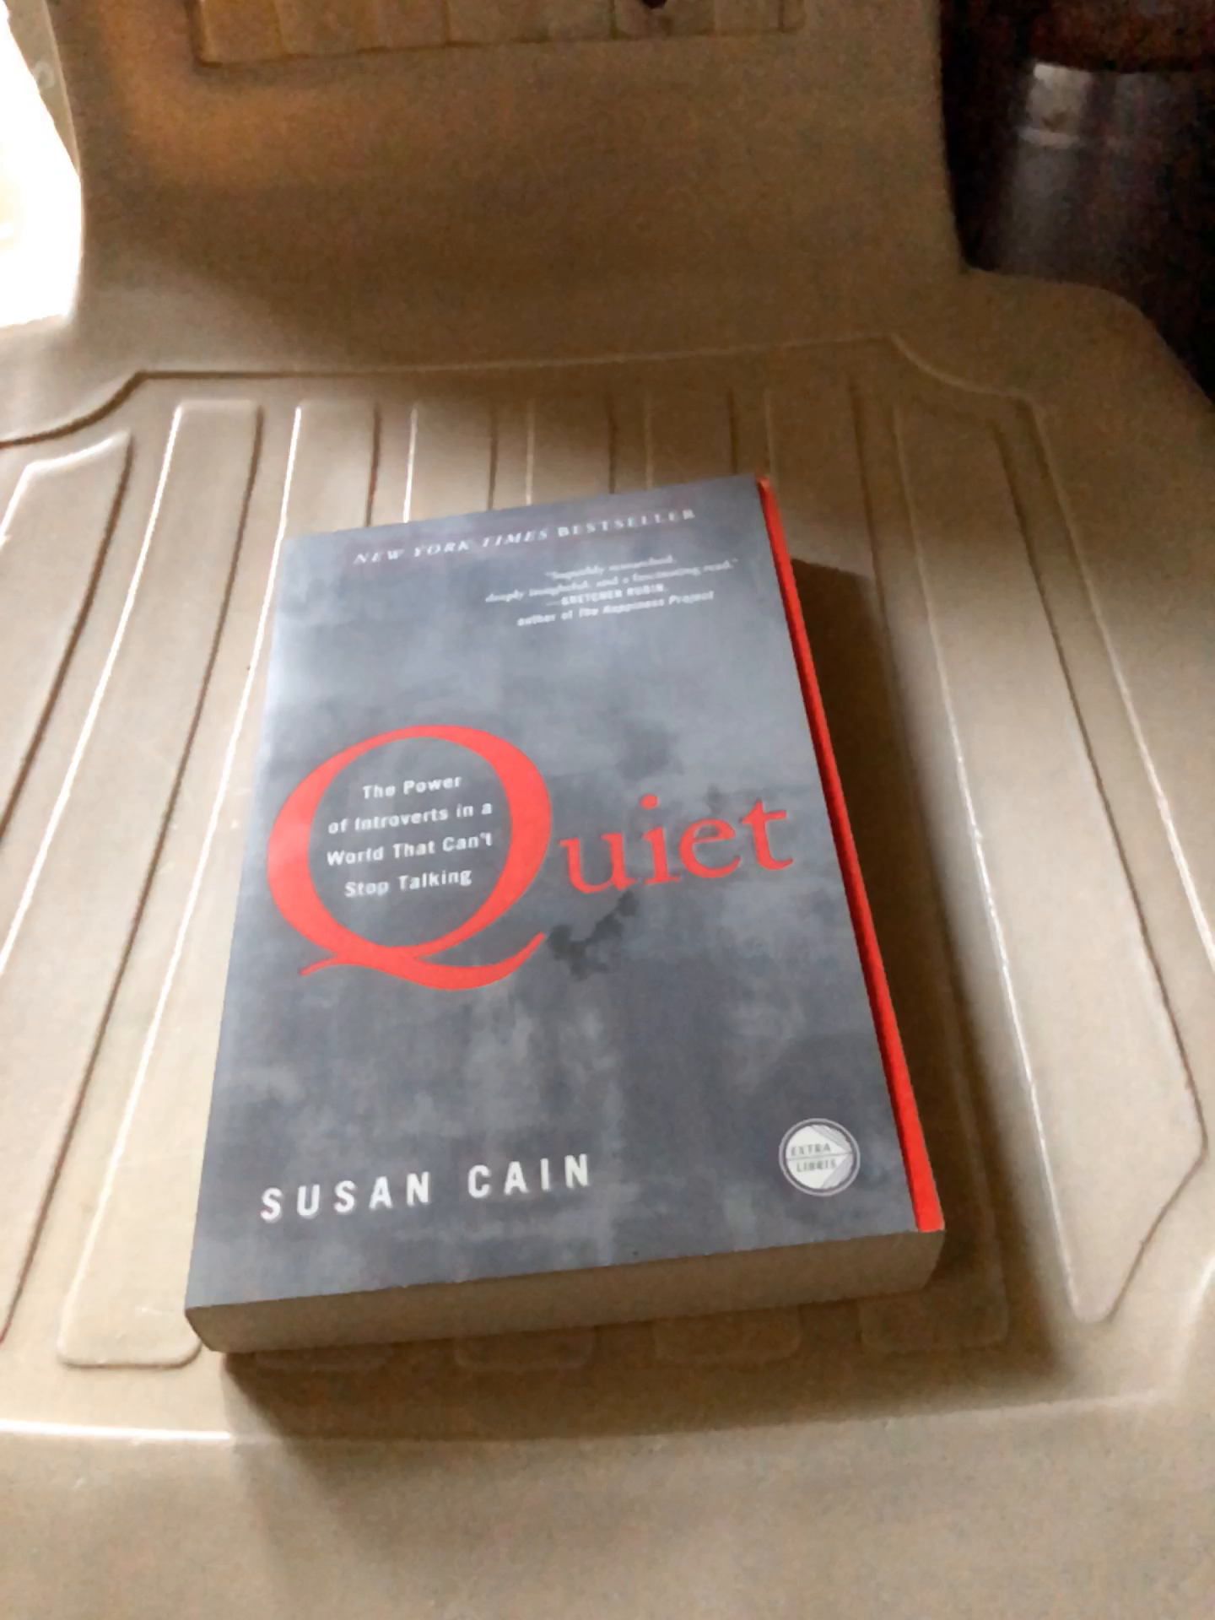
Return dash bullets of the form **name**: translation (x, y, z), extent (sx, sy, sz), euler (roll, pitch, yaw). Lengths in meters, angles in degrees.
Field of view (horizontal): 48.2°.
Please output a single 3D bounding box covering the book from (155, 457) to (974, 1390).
- **book**: translation (-0.013, 0.007, 0.287), extent (0.130, 0.030, 0.200), euler (-6, 52, 1)
